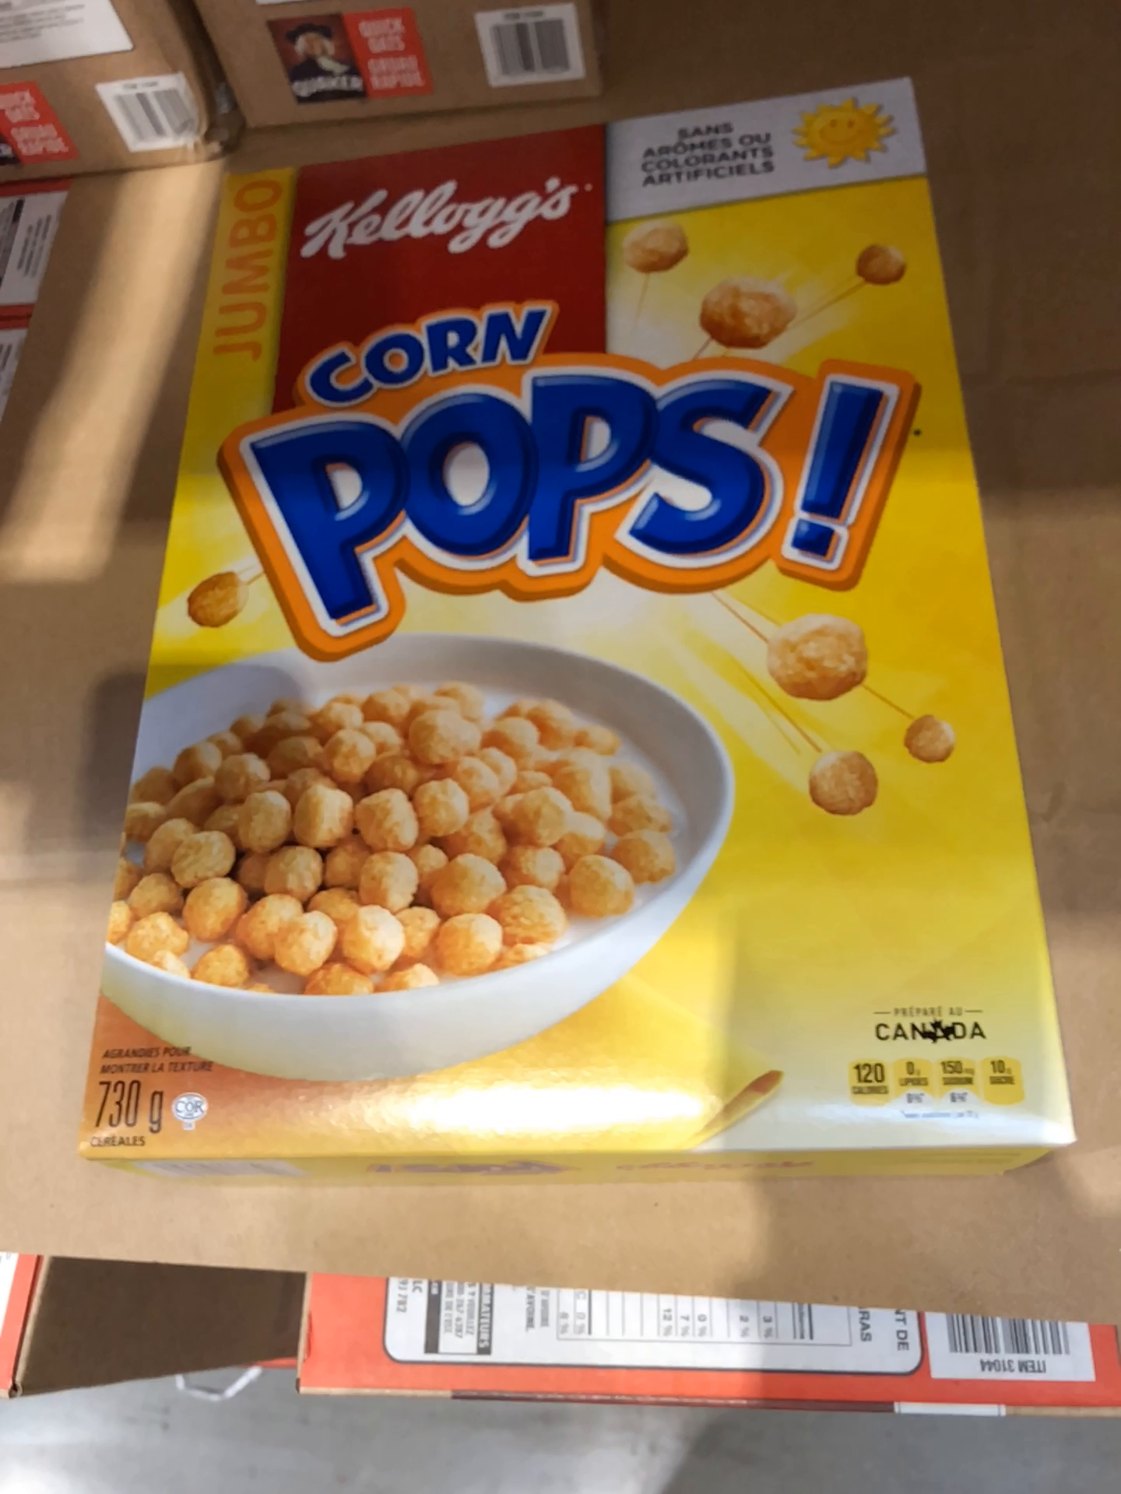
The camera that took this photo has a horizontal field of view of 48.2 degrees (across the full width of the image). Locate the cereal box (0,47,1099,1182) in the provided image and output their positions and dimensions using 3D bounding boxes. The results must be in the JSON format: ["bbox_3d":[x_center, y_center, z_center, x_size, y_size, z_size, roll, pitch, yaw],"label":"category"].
[{"bbox_3d":[-0.006,-0.044,0.404,0.270,0.100,0.340,-3,65,10],"label":"cereal box"}]
